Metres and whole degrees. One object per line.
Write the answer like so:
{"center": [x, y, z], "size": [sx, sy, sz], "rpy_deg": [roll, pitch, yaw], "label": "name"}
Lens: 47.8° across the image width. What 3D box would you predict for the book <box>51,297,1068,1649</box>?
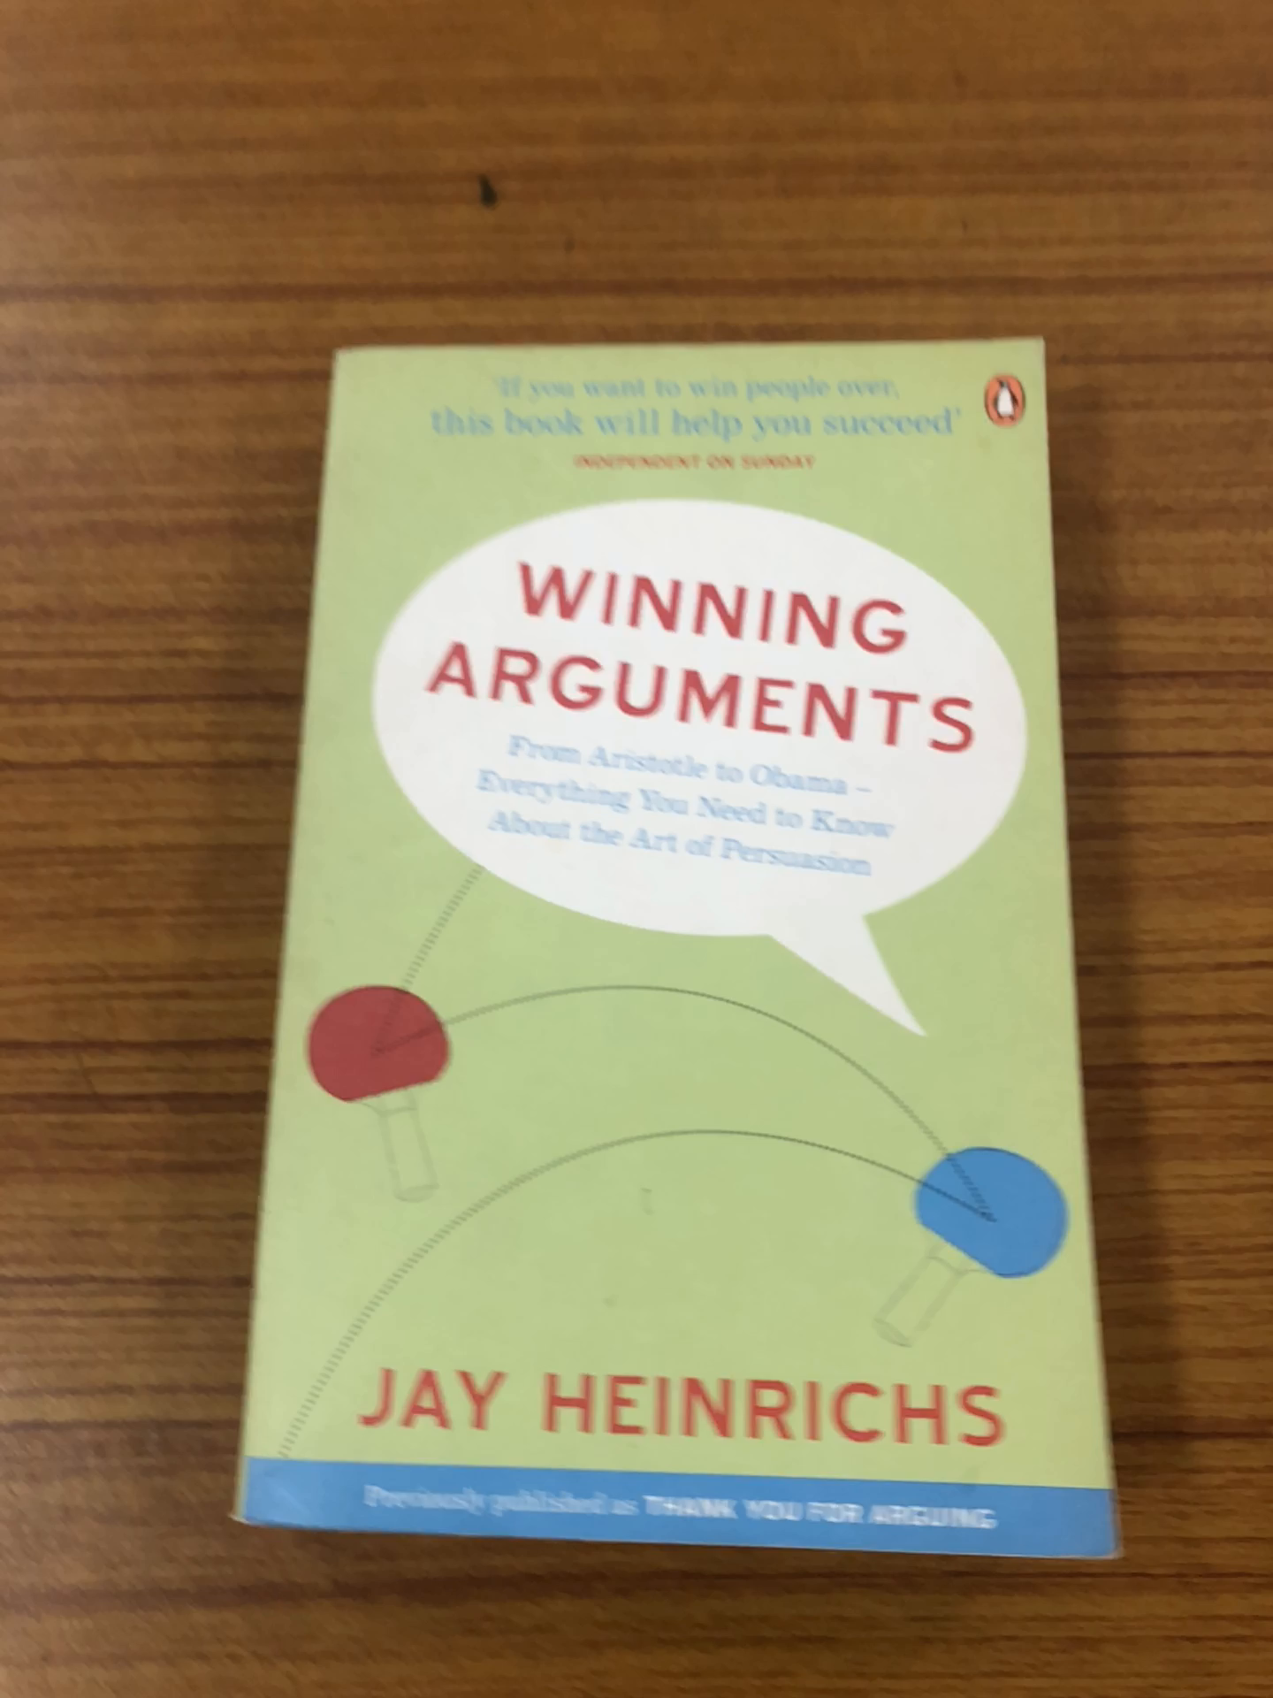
{"center": [-0.009, 0.010, 0.238], "size": [0.140, 0.030, 0.210], "rpy_deg": [1, 76, 1], "label": "book"}
